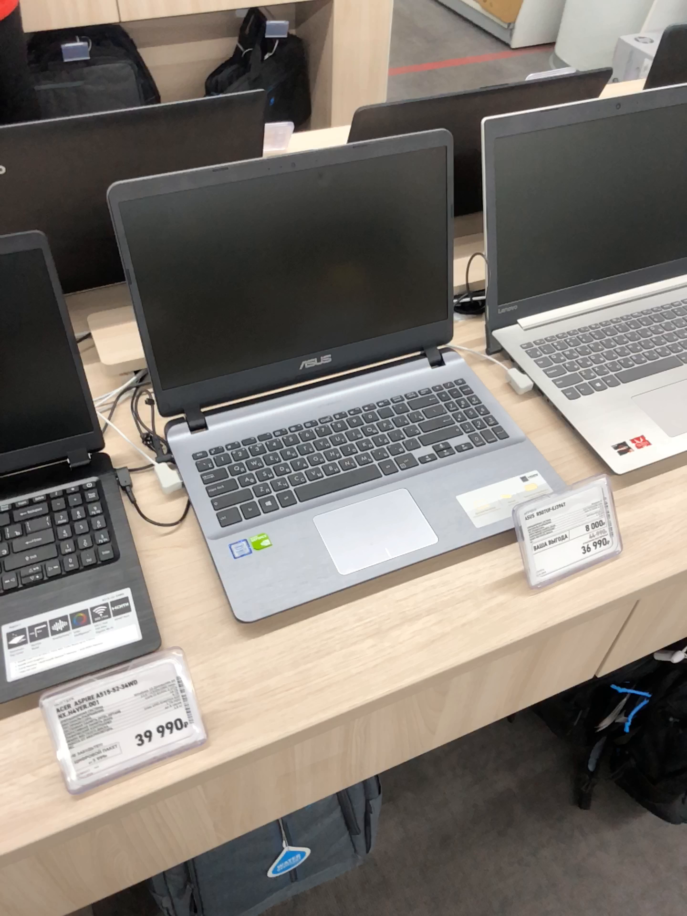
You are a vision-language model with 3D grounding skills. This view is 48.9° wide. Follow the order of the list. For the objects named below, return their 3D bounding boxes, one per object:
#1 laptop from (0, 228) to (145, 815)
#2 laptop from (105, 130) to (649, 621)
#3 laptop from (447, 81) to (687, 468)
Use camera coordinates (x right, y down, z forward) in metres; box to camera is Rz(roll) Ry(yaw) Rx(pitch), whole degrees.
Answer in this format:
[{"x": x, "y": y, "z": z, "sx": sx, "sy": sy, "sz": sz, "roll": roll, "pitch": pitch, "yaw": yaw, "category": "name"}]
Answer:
[{"x": -0.364, "y": 0.025, "z": 0.582, "sx": 0.332, "sy": 0.222, "sz": 0.292, "roll": -15, "pitch": 50, "yaw": -17, "category": "laptop"}, {"x": 0.008, "y": -0.100, "z": 0.712, "sx": 0.345, "sy": 0.226, "sz": 0.330, "roll": -17, "pitch": 52, "yaw": -18, "category": "laptop"}, {"x": 0.388, "y": -0.224, "z": 0.854, "sx": 0.370, "sy": 0.220, "sz": 0.333, "roll": -18, "pitch": 53, "yaw": -19, "category": "laptop"}]
